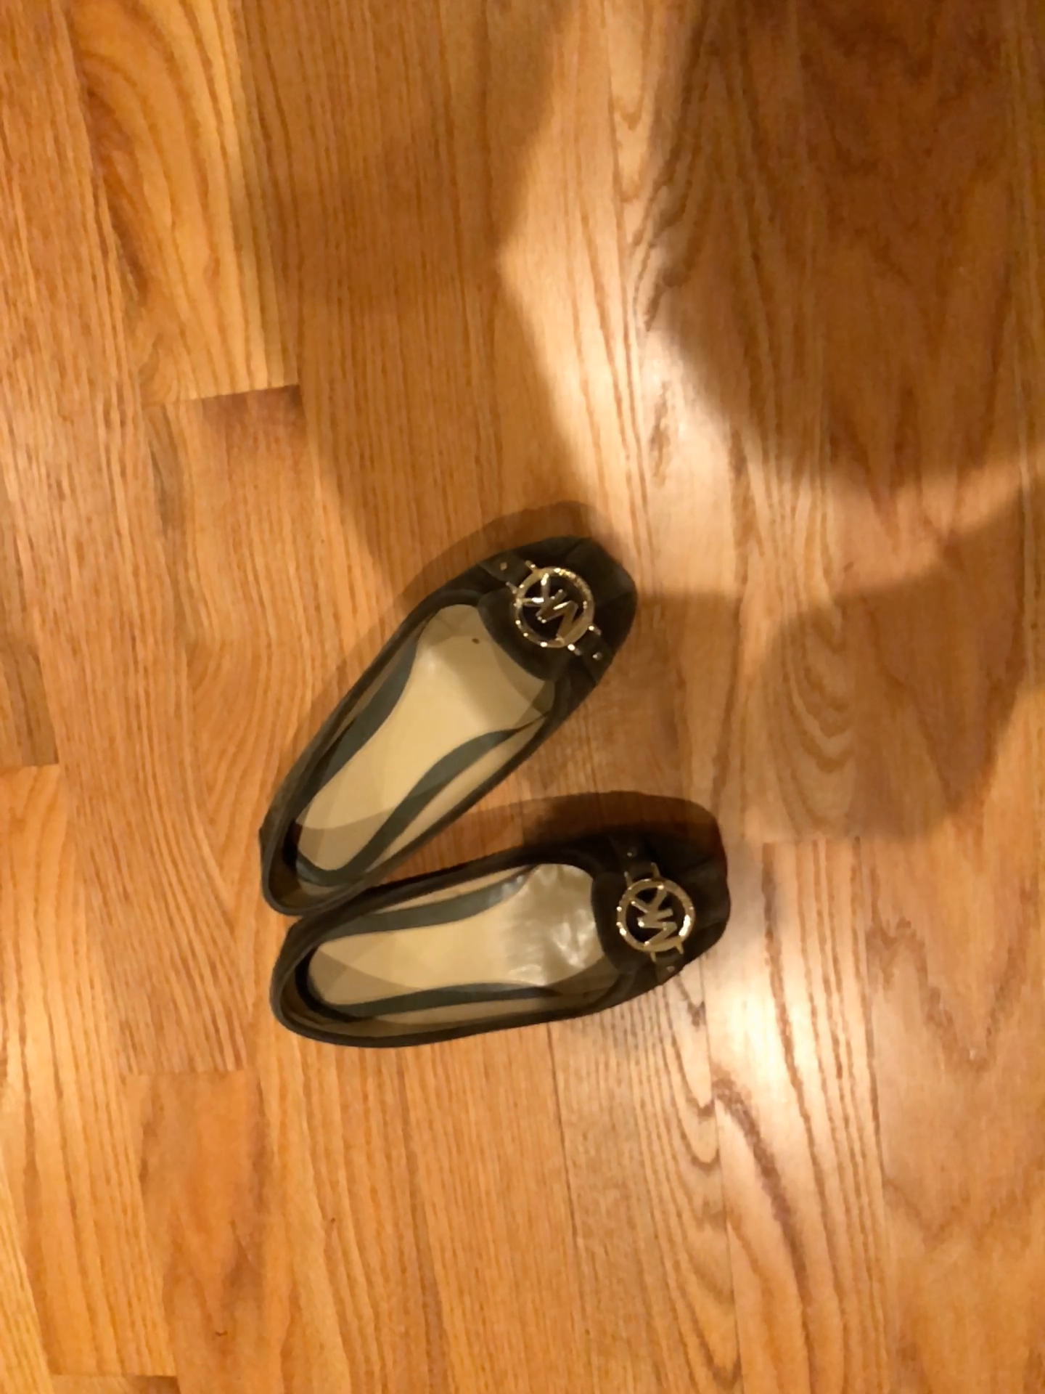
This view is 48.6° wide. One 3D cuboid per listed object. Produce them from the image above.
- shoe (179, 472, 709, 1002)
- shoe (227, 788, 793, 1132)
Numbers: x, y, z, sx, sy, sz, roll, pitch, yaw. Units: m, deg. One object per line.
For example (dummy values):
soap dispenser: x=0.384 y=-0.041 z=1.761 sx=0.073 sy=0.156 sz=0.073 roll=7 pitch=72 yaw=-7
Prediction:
shoe: x=-0.034 y=0.017 z=0.535 sx=0.091 sy=0.079 sz=0.242 roll=45 pitch=104 yaw=-1
shoe: x=-0.004 y=0.125 z=0.554 sx=0.240 sy=0.079 sz=0.091 roll=-15 pitch=98 yaw=11
